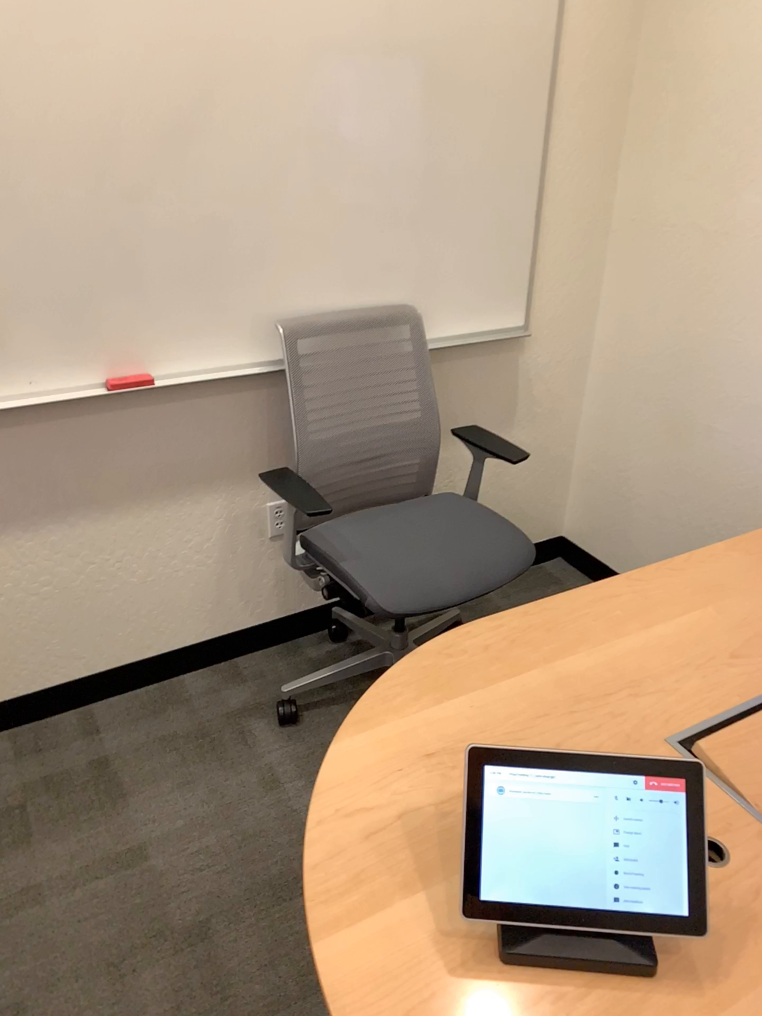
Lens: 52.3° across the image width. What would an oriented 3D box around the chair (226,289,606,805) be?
[{"bbox_3d":[0.053,0.051,2.419,0.761,1.263,0.754,-14,29,-31],"label":"chair"}]
